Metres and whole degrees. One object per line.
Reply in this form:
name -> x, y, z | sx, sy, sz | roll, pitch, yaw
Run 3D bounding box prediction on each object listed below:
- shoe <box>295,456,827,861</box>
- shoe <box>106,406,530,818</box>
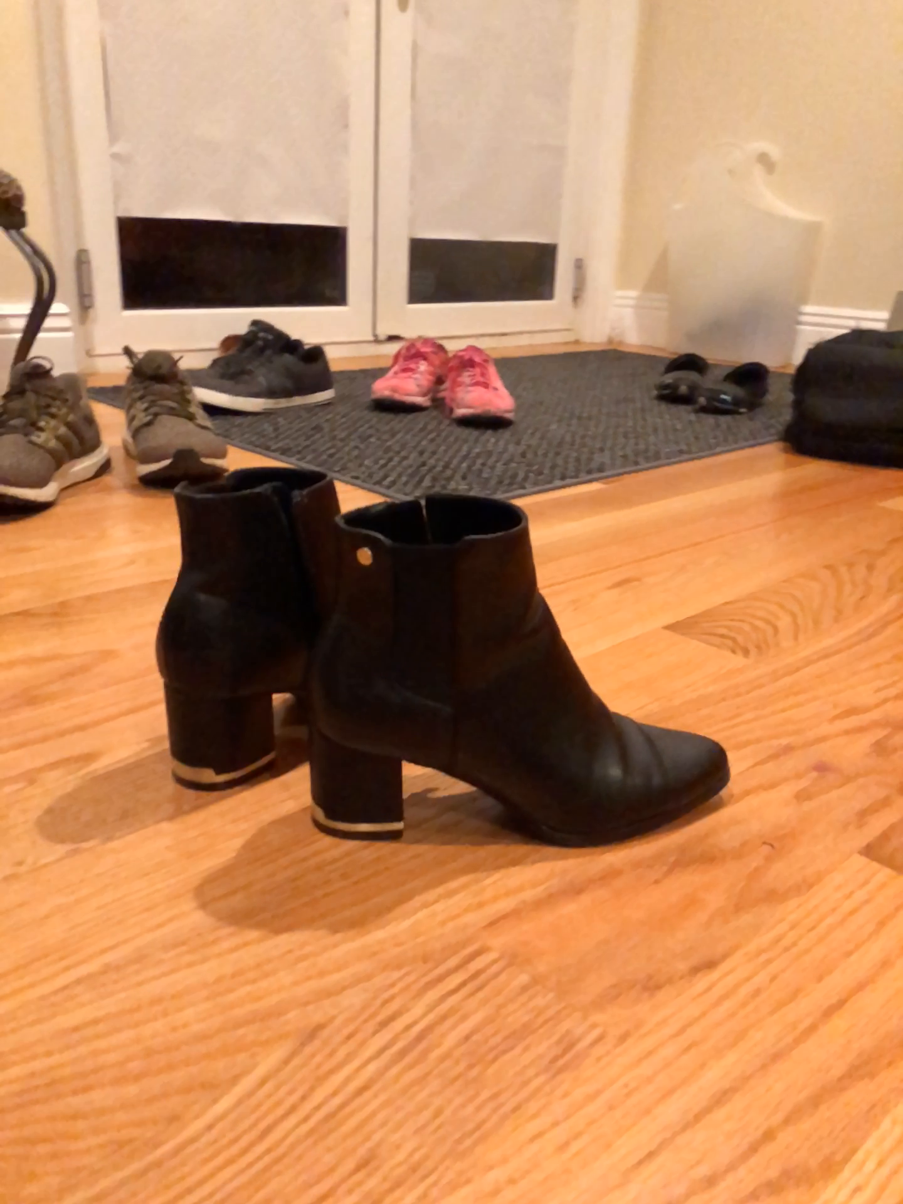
shoe -> 0.043, 0.024, 0.504 | 0.236, 0.175, 0.095 | 0, 20, -7
shoe -> -0.067, -0.012, 0.592 | 0.095, 0.175, 0.237 | 18, 25, 37
